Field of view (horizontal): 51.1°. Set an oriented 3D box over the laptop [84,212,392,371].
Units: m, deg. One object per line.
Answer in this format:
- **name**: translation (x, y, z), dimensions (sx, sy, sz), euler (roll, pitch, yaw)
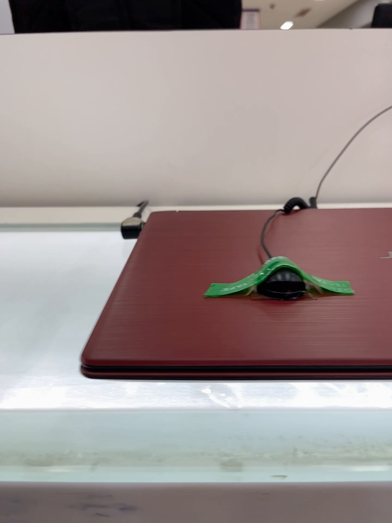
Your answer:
- **laptop**: translation (0.141, -0.003, 0.285), dimensions (0.367, 0.006, 0.262), euler (0, 19, 1)
